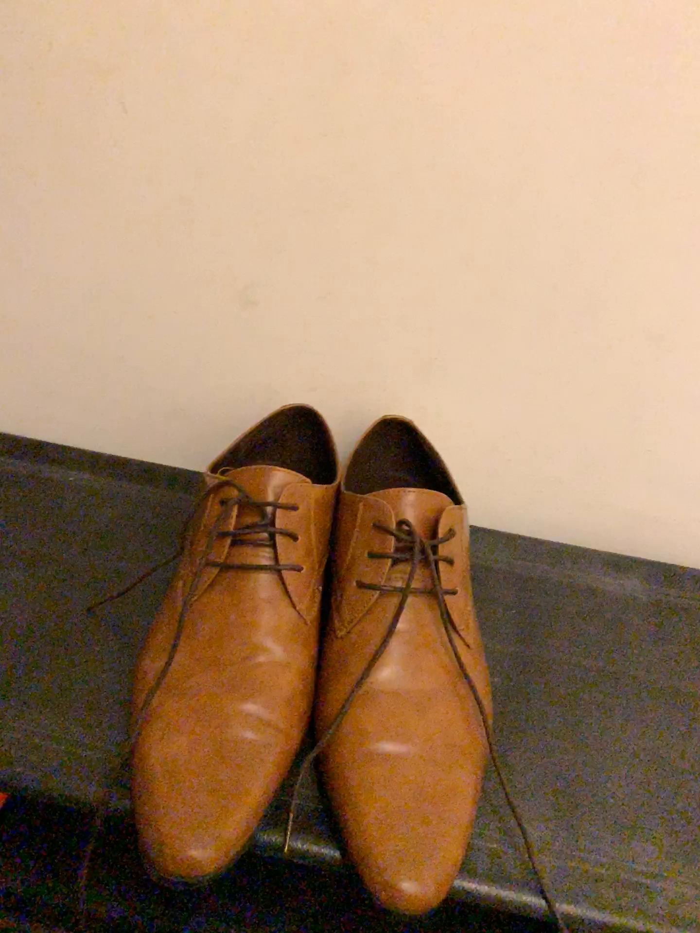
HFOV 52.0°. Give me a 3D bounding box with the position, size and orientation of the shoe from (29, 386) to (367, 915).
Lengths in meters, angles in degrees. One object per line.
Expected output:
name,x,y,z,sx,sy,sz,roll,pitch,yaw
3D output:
shoe,-0.062,0.072,0.427,0.100,0.099,0.303,10,34,2

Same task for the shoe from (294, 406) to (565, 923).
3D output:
shoe,0.026,0.086,0.434,0.100,0.099,0.303,5,34,-5
